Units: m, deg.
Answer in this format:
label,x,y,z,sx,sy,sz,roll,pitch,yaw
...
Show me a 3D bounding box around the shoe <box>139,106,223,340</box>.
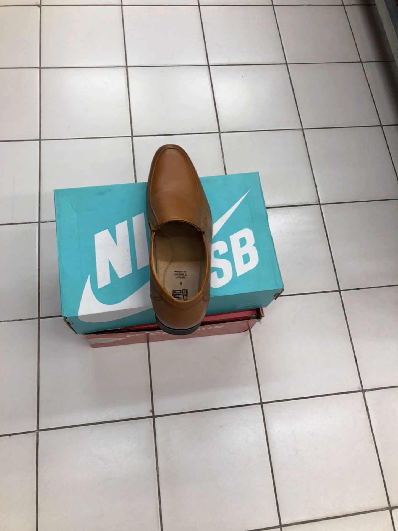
label,x,y,z,sx,sy,sz,roll,pitch,yaw
shoe,-0.032,-0.062,0.611,0.090,0.100,0.311,-2,69,-6
